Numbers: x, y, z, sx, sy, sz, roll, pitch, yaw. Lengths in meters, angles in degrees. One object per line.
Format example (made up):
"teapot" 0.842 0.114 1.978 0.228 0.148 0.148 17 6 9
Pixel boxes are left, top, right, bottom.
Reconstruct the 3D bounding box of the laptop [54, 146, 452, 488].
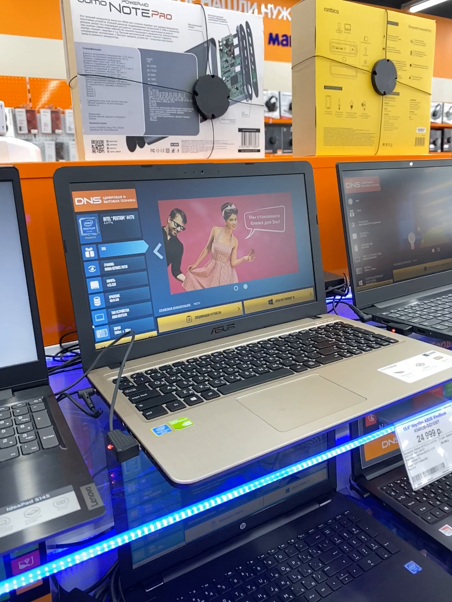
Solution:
"laptop" 0.047 -0.039 0.517 0.376 0.230 0.294 -10 16 -29
